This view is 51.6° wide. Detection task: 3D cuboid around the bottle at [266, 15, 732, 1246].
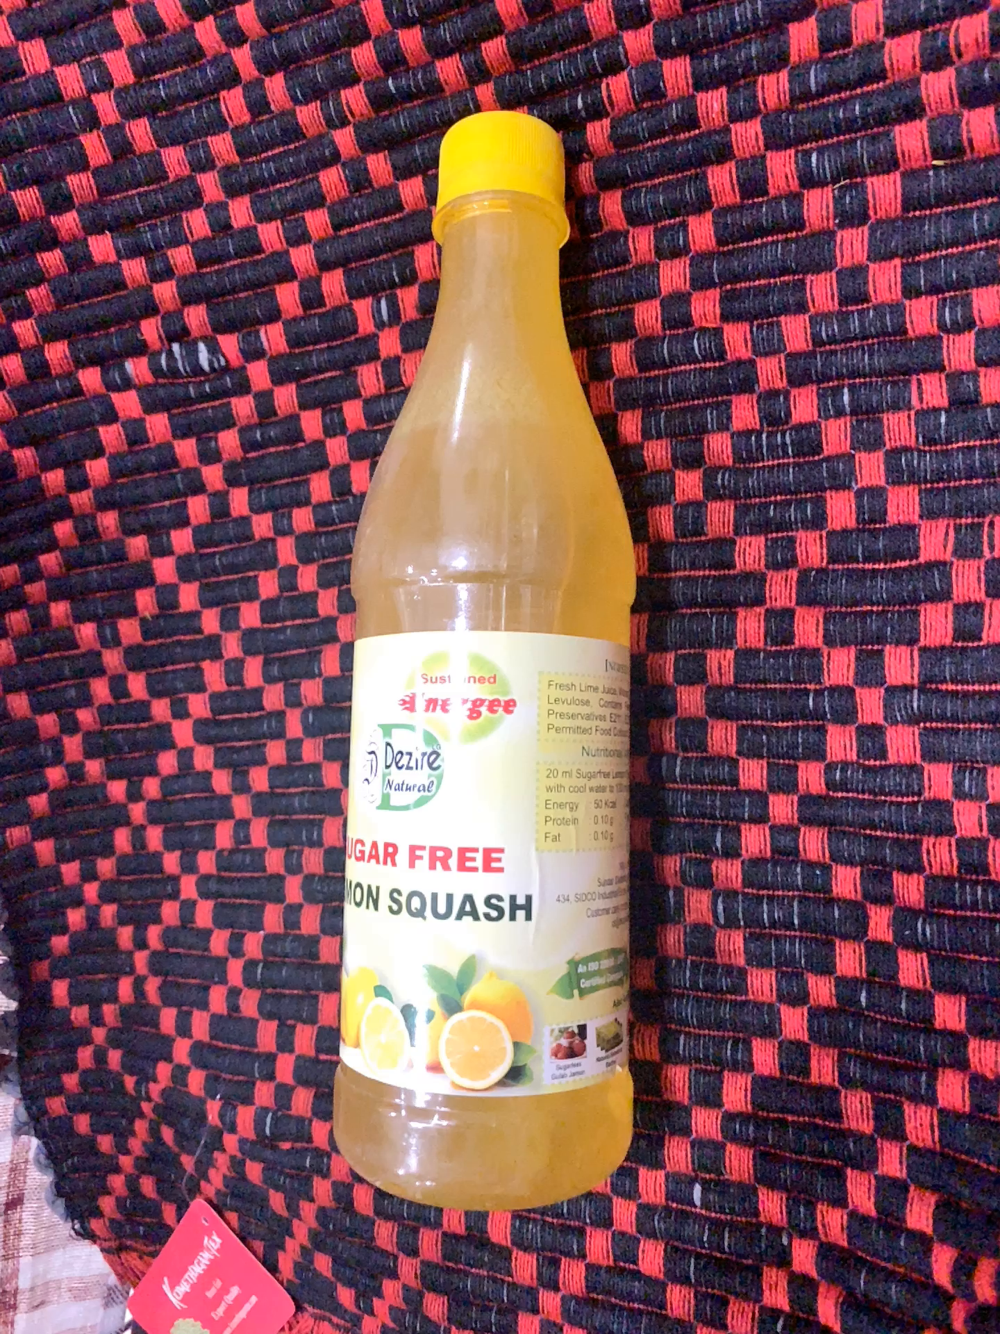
[{"bbox_3d":[0.006,-0.012,0.232,0.070,0.060,0.230,-1,80,27],"label":"bottle"}]
